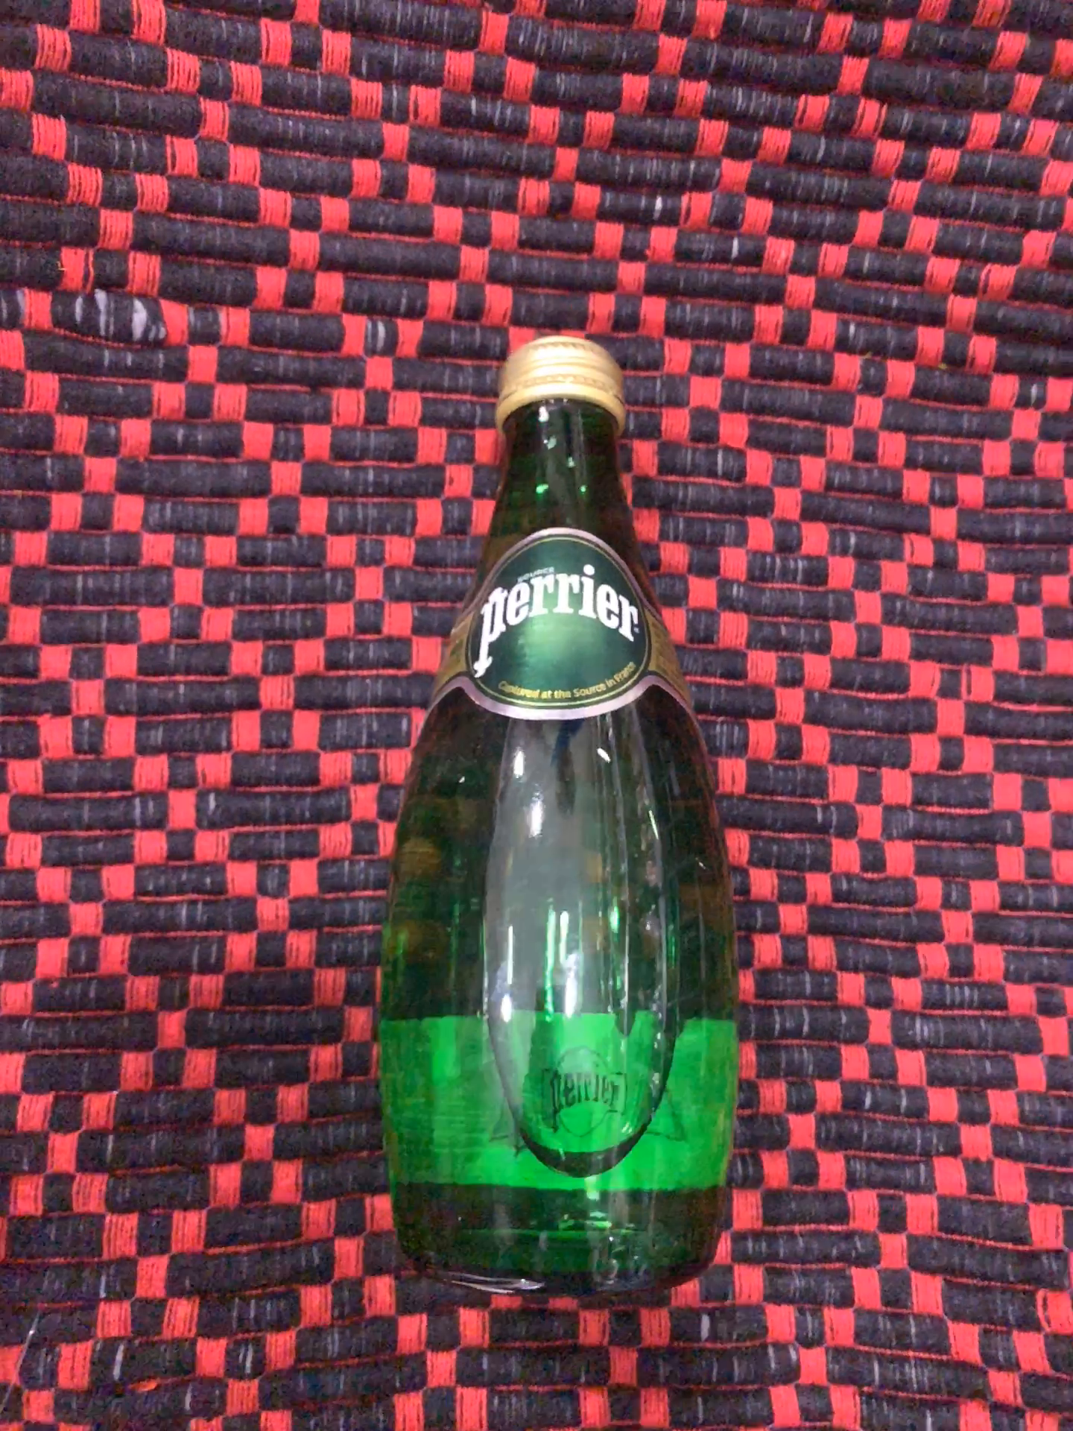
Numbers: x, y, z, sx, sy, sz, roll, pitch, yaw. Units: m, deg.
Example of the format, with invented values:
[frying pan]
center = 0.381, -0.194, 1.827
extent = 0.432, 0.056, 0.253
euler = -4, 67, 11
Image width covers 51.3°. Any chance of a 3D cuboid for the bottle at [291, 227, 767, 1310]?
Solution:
[bottle]
center = 0.002, 0.007, 0.219
extent = 0.070, 0.070, 0.180
euler = 0, 76, 4
